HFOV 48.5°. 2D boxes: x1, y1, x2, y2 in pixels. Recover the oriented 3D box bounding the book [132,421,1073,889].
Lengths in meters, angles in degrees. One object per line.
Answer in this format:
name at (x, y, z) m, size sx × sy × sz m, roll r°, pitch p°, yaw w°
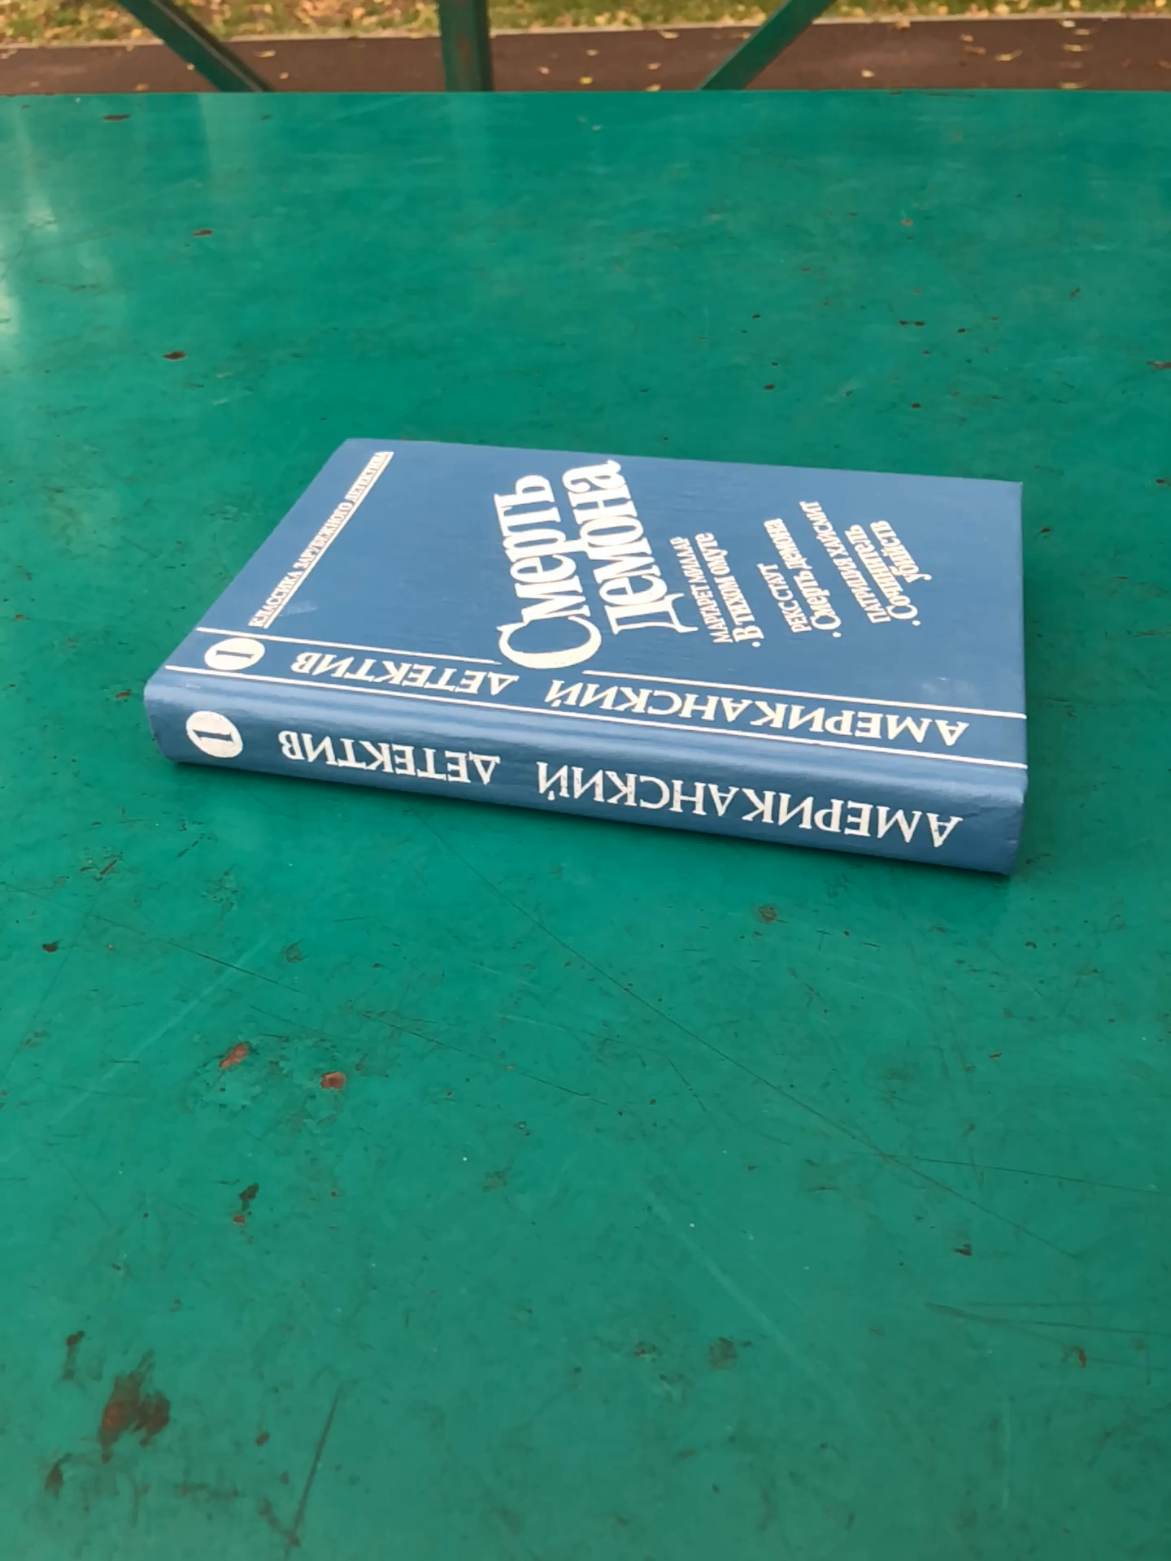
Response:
book at (0.013, -0.045, 0.348) m, size 0.212 × 0.034 × 0.143 m, roll 6°, pitch 41°, yaw 13°
